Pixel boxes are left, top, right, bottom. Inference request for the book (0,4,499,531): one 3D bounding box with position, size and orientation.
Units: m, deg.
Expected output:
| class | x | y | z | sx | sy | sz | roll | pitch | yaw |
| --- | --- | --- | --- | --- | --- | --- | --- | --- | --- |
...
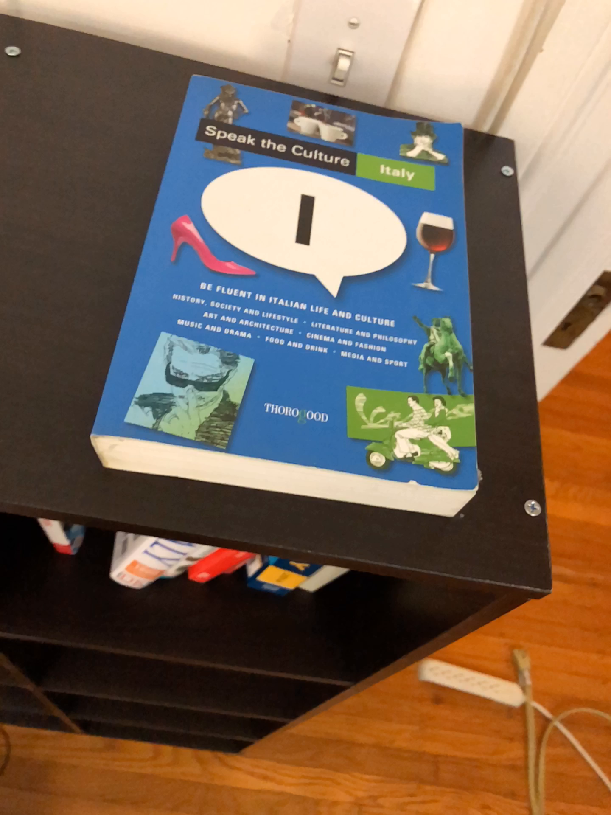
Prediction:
| class | x | y | z | sx | sy | sz | roll | pitch | yaw |
| --- | --- | --- | --- | --- | --- | --- | --- | --- | --- |
| book | -0.018 | -0.083 | 0.326 | 0.200 | 0.030 | 0.261 | 9 | 59 | -7 |
